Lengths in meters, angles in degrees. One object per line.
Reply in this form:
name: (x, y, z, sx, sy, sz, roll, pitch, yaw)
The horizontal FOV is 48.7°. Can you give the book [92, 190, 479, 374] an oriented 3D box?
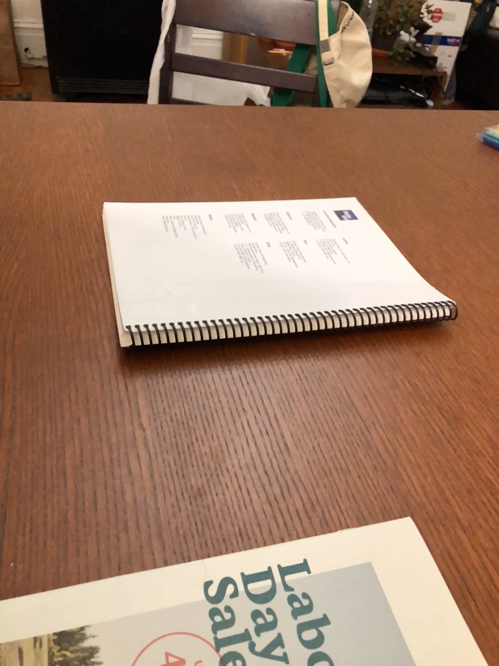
book: (0.017, -0.067, 0.510, 0.300, 0.020, 0.231, -6, 42, -16)
